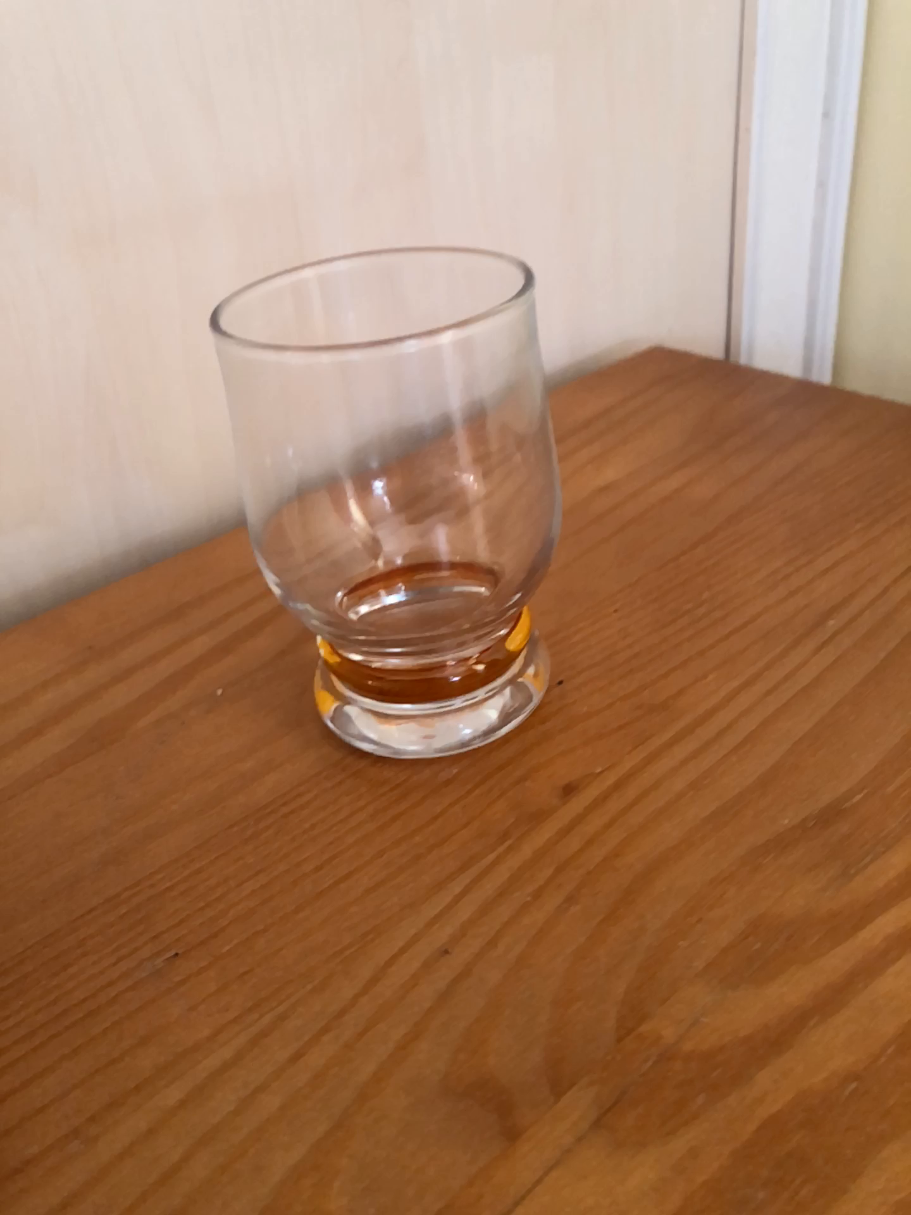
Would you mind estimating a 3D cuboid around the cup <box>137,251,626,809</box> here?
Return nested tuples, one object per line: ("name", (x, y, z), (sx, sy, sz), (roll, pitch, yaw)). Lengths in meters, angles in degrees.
("cup", (-0.009, -0.023, 0.241), (0.076, 0.099, 0.074), (-5, 32, 3))
